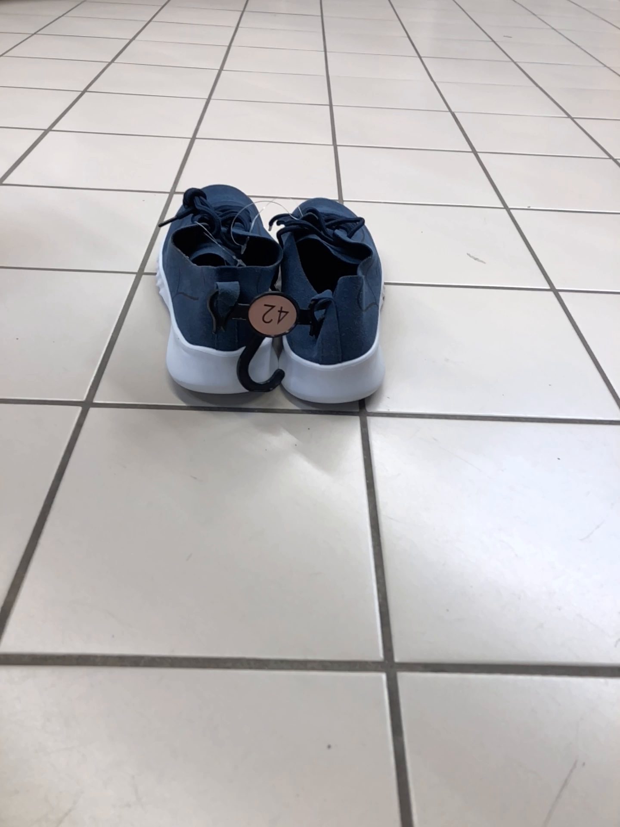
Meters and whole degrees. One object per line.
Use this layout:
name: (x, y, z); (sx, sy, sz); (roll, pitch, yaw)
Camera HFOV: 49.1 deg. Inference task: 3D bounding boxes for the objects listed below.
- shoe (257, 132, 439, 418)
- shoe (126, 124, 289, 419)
shoe: (0.013, -0.132, 0.564); (0.100, 0.109, 0.292); (-2, 39, -7)
shoe: (-0.089, -0.137, 0.568); (0.100, 0.119, 0.292); (-4, 39, -9)
